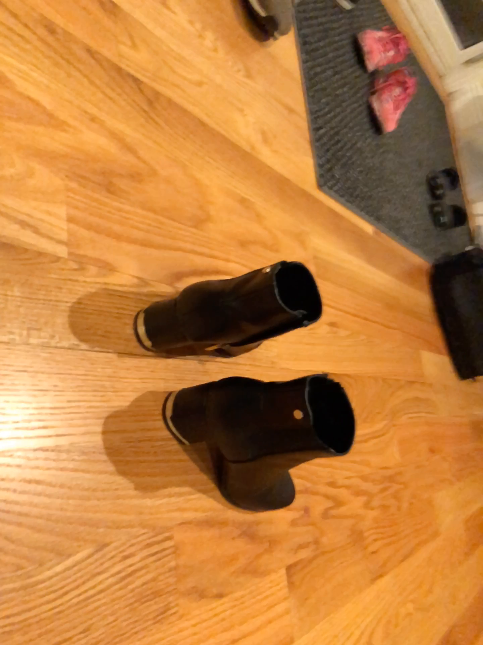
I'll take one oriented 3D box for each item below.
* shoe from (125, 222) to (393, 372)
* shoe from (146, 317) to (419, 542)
[{"bbox_3d":[0.030,-0.015,0.574,0.237,0.175,0.095,2,76,-55],"label":"shoe"},{"bbox_3d":[0.054,0.127,0.553,0.236,0.175,0.095,52,40,-31],"label":"shoe"}]
